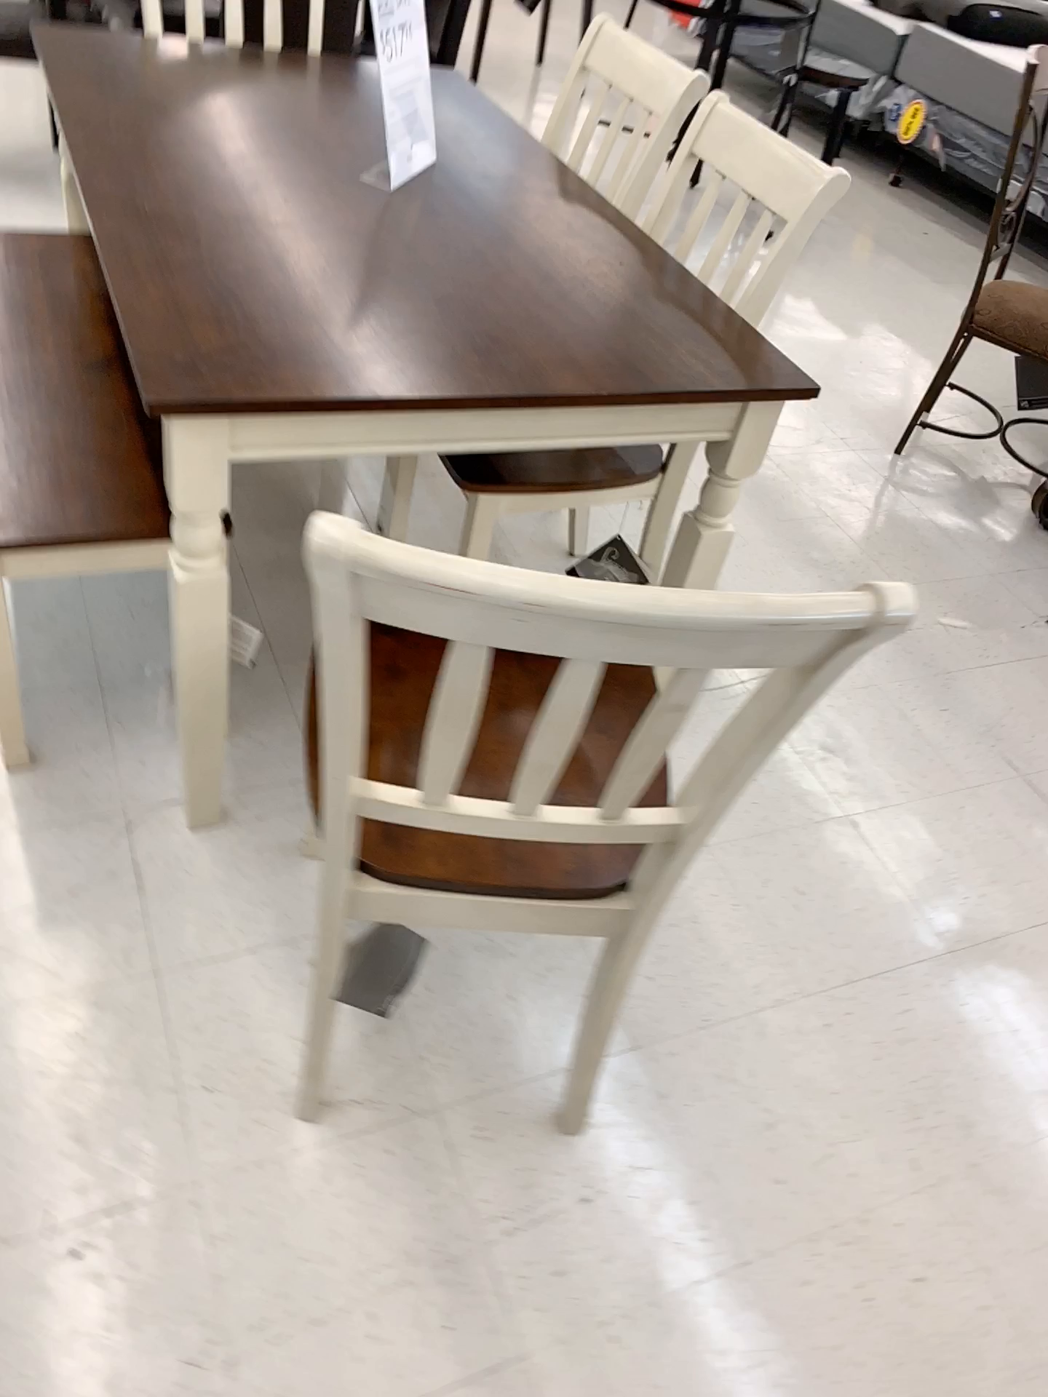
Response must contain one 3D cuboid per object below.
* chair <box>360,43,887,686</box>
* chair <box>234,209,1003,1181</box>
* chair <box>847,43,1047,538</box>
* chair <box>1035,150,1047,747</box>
[{"bbox_3d":[0.097,-0.560,1.932,0.604,0.932,0.466,-8,46,-23],"label":"chair"},{"bbox_3d":[-0.026,0.052,1.217,0.524,0.902,0.597,5,42,-10],"label":"chair"},{"bbox_3d":[1.372,-1.042,2.767,0.605,0.972,0.476,29,43,16],"label":"chair"},{"bbox_3d":[1.627,-0.492,2.238,0.464,0.982,0.607,10,41,-5],"label":"chair"}]
